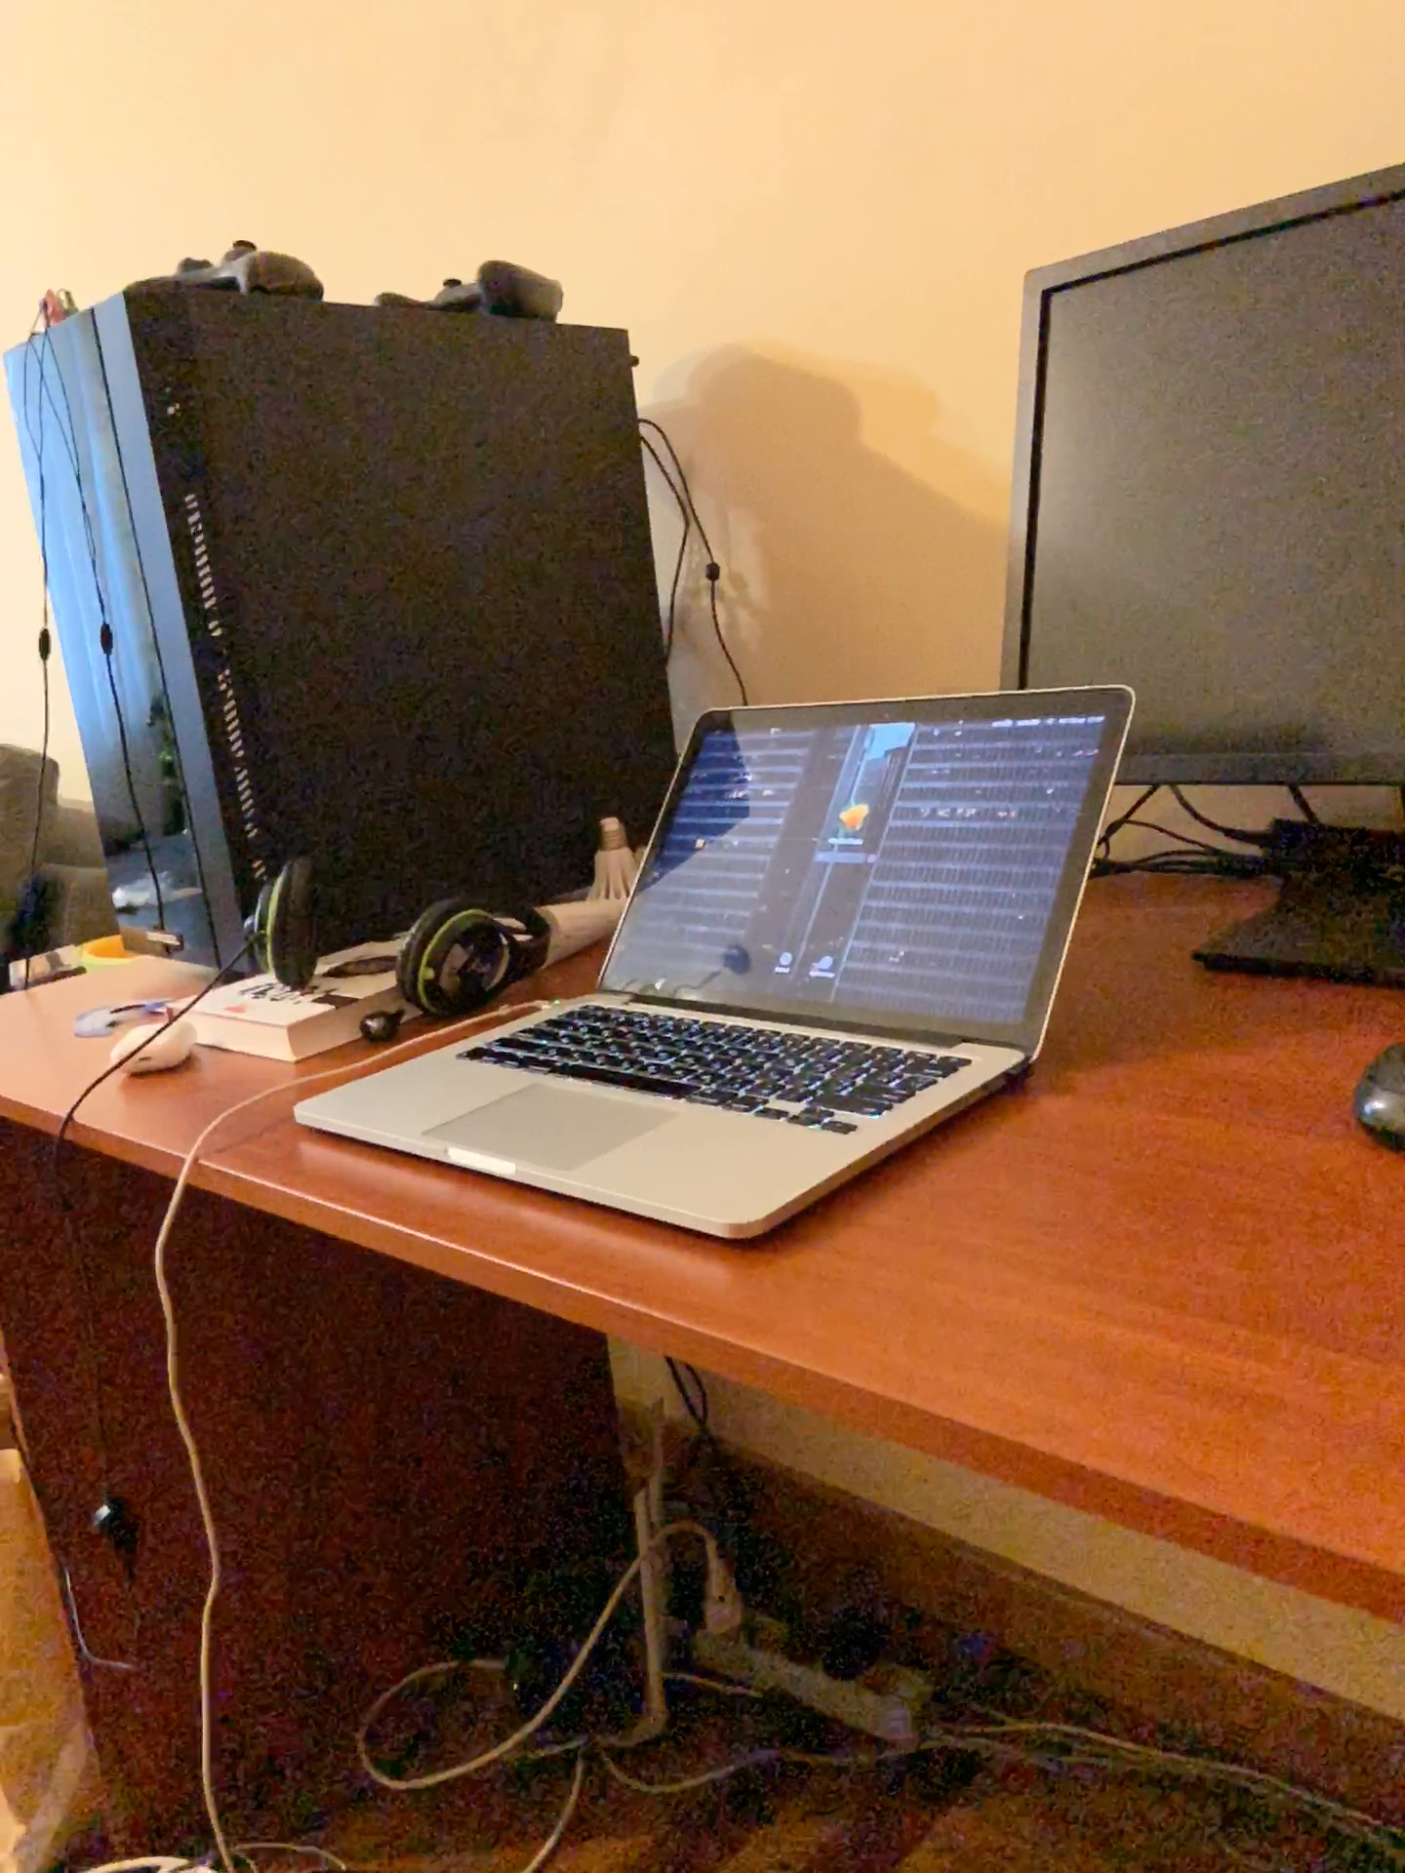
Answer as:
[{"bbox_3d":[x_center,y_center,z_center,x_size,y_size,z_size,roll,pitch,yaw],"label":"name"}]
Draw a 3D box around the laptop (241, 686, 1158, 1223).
[{"bbox_3d":[0.011,-0.021,0.736,0.300,0.155,0.341,5,18,41],"label":"laptop"}]
